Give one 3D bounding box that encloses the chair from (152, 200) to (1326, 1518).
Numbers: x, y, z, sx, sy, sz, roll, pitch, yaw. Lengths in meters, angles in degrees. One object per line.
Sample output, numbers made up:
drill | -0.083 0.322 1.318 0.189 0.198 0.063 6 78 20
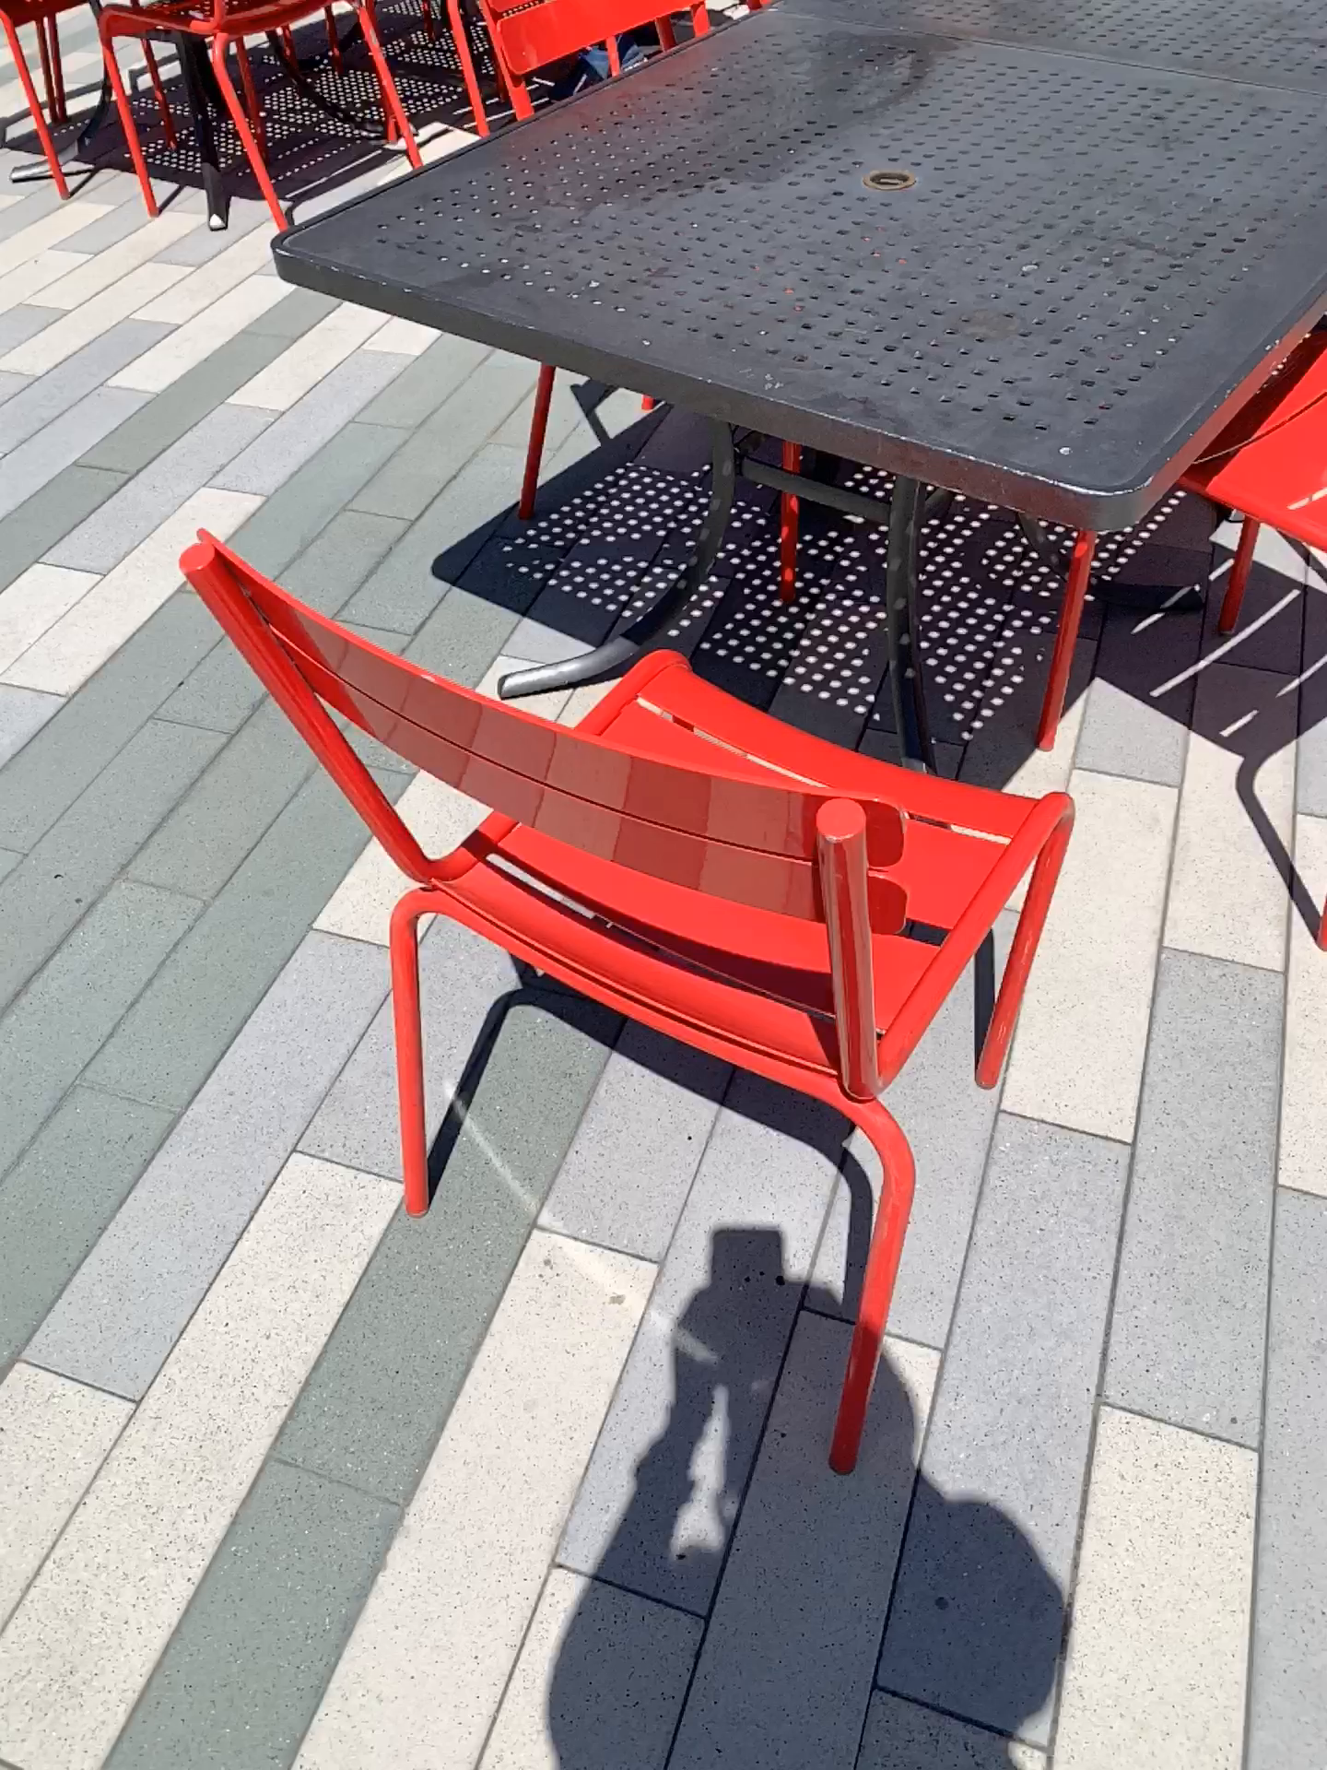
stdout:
chair | 0.100 -0.010 1.195 0.581 0.846 0.581 23 52 23
